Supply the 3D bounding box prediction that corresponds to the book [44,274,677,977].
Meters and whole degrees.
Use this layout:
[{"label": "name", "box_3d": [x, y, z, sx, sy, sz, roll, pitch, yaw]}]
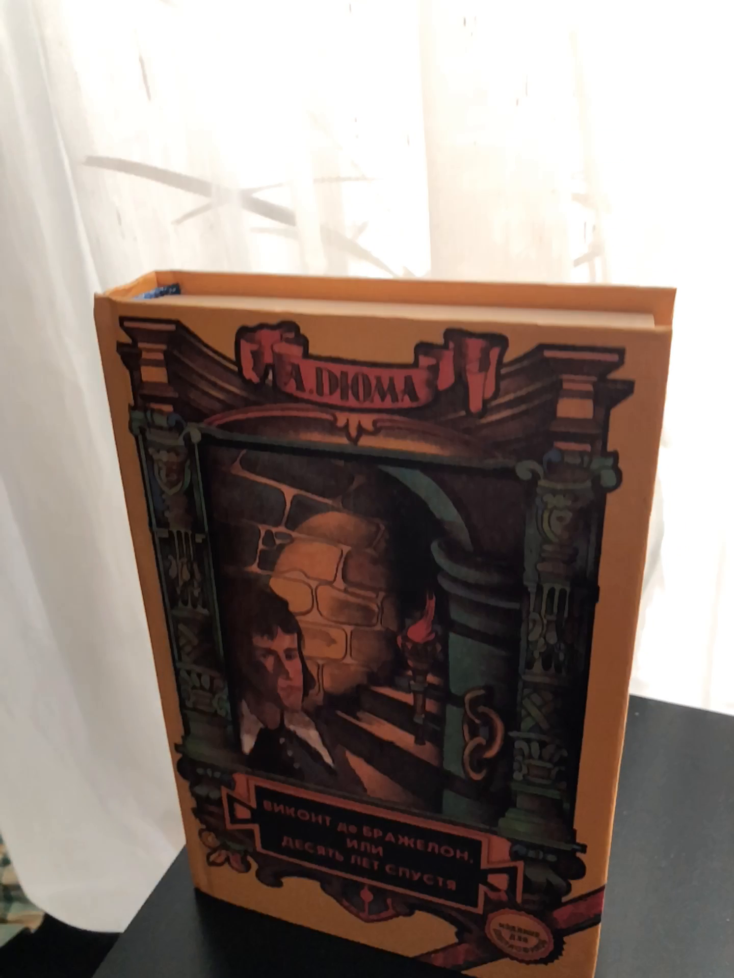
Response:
[{"label": "book", "box_3d": [0.000, 0.045, 0.228, 0.141, 0.197, 0.040, 6, 25, 20]}]
